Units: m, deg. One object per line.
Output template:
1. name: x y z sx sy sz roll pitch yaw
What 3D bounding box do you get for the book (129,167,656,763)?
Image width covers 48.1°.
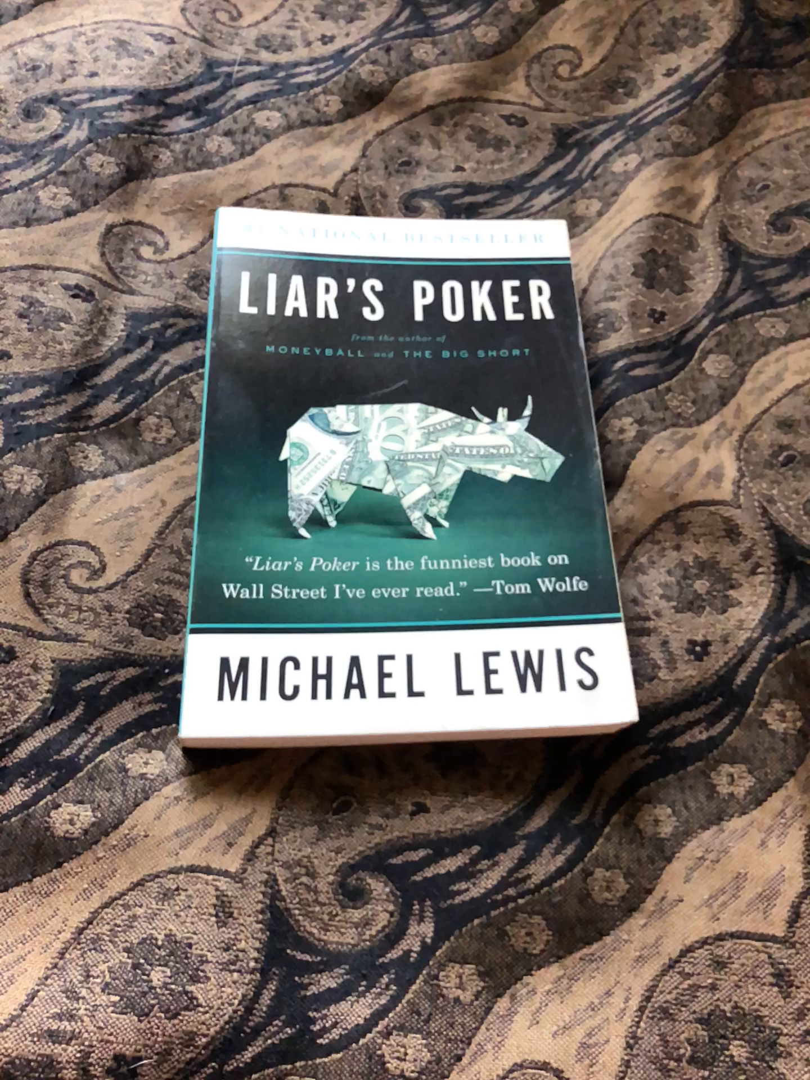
1. book: -0.003 -0.033 0.318 0.150 0.040 0.210 2 66 -3
